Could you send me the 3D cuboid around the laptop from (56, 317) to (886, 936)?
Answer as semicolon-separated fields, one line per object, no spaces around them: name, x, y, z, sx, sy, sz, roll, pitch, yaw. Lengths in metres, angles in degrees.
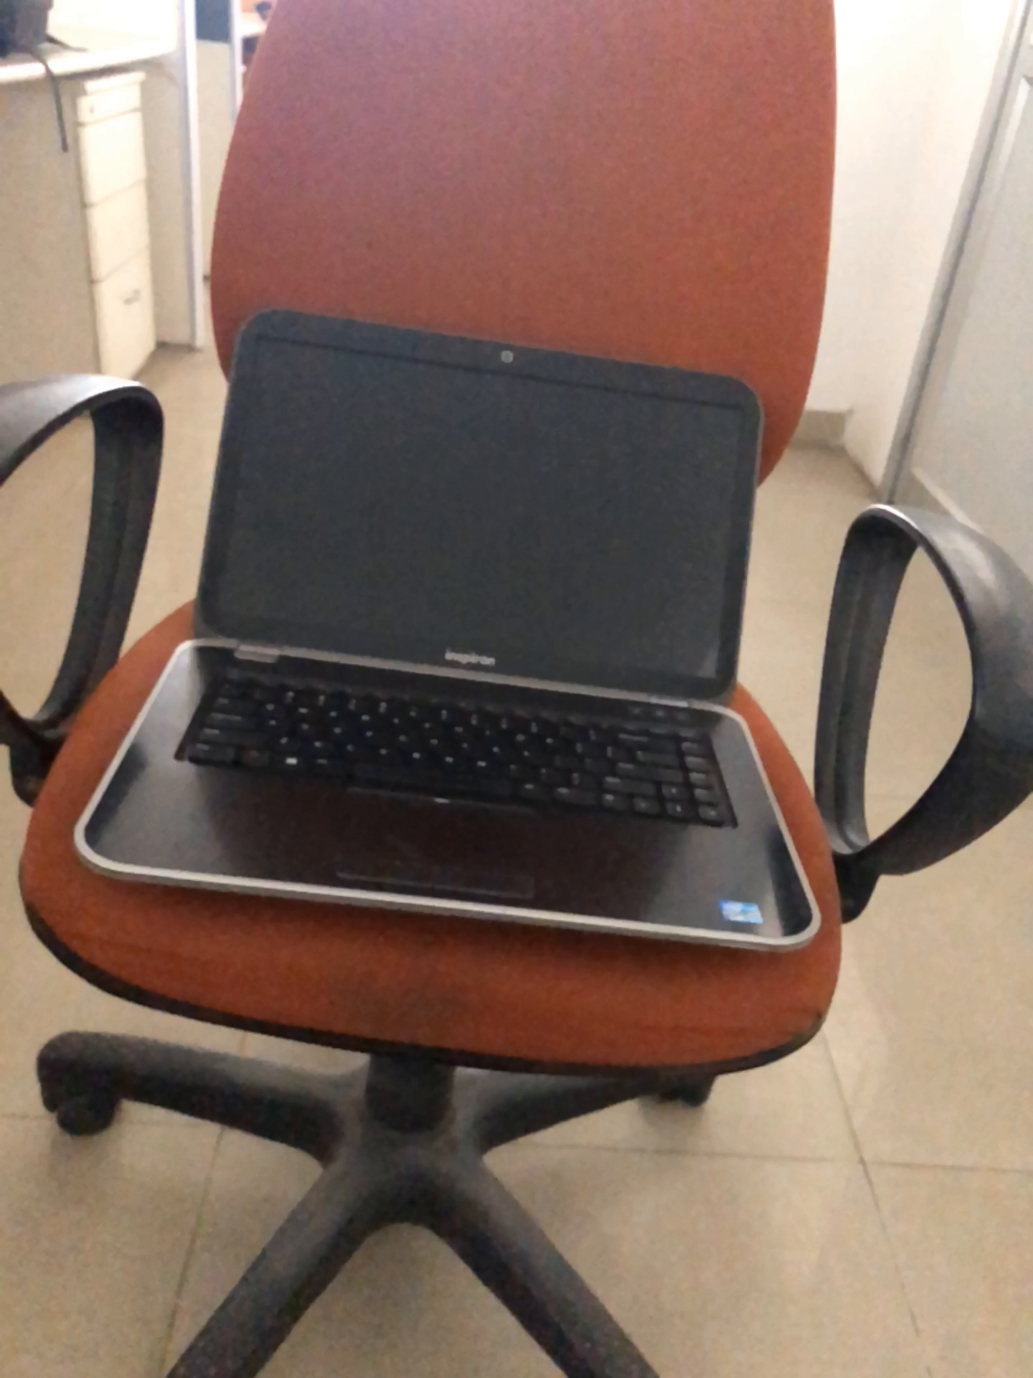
laptop;-0.025;-0.065;0.678;0.352;0.173;0.353;6;31;-1
